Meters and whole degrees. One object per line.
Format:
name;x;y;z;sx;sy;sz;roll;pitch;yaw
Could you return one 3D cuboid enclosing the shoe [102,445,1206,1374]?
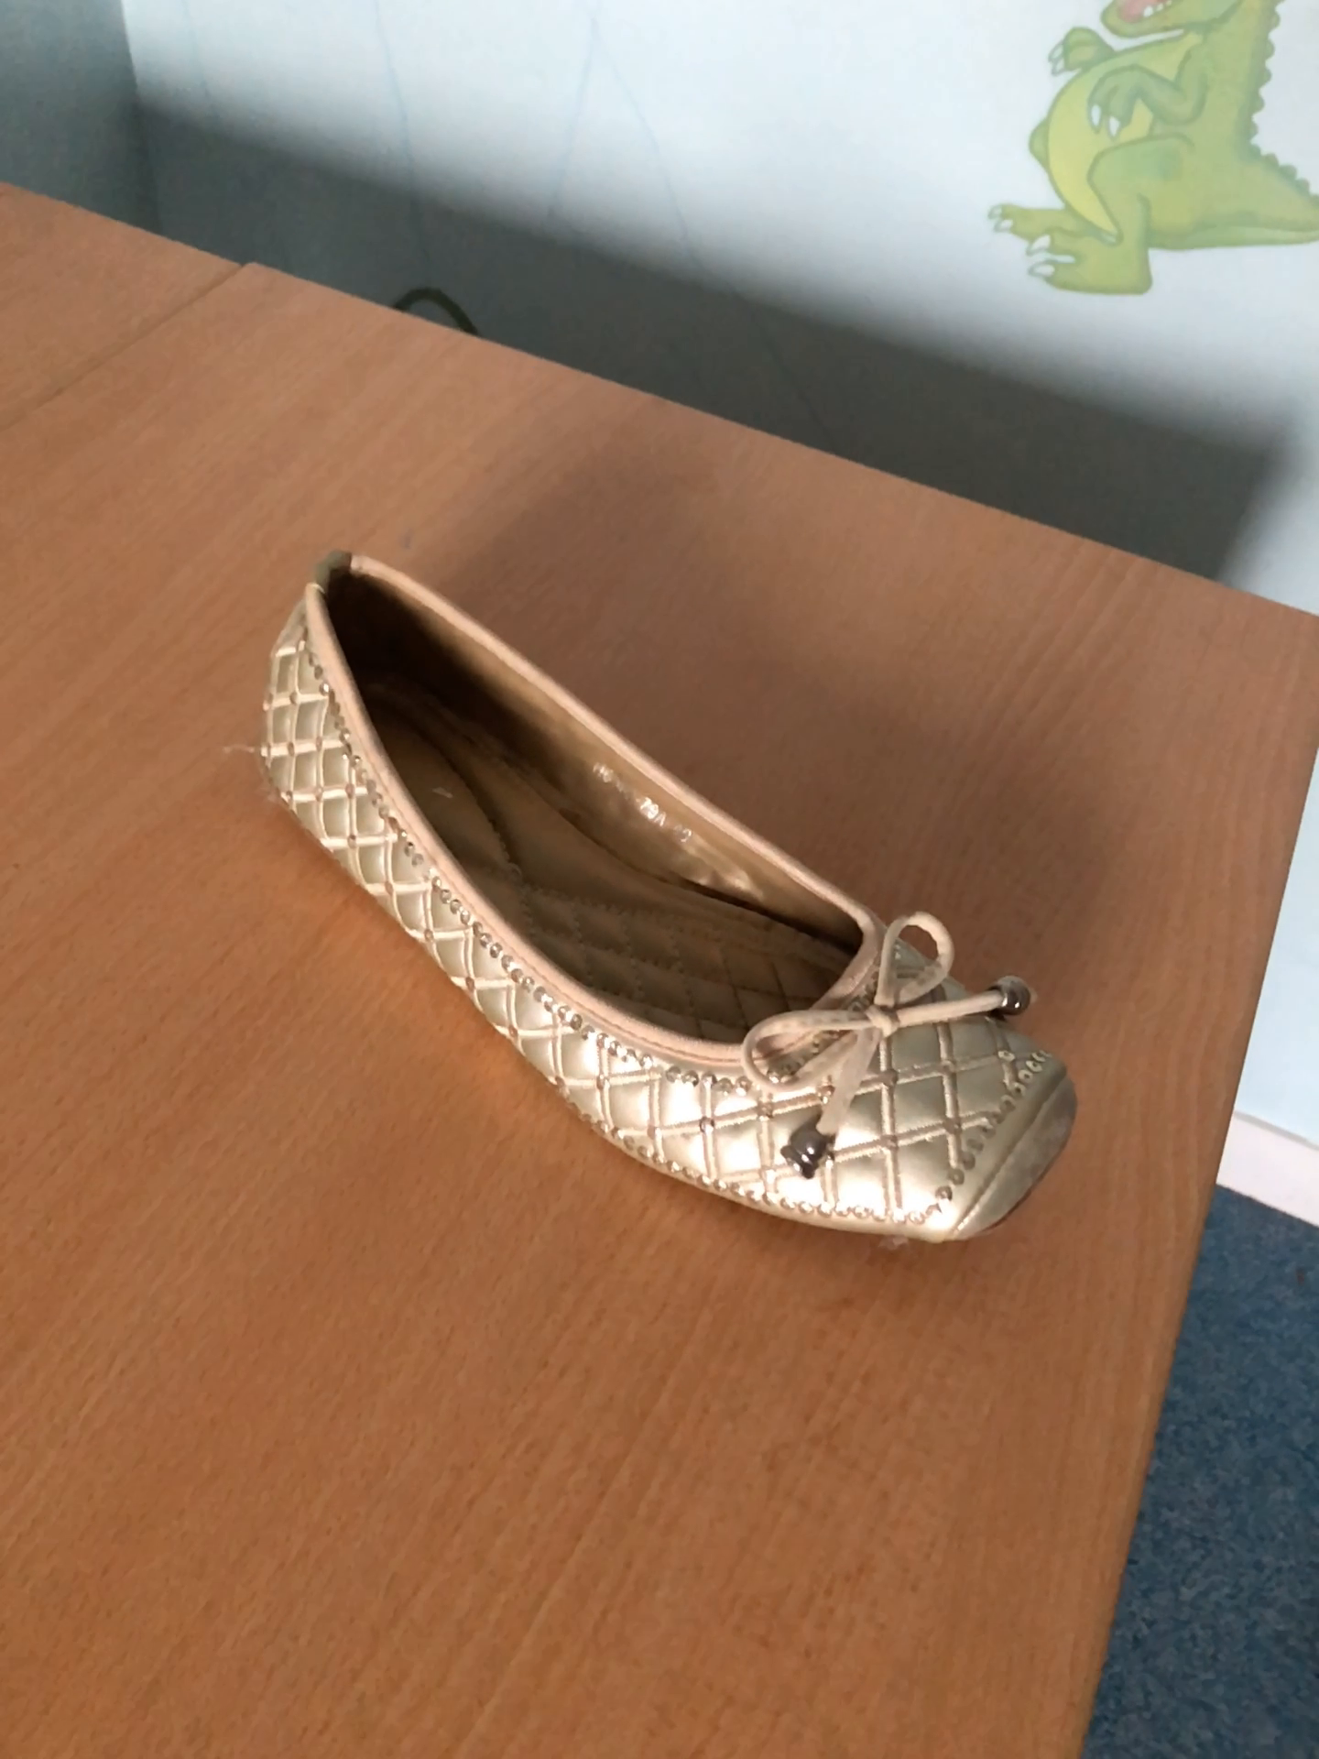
shoe;-0.011;-0.006;0.380;0.260;0.080;0.101;33;53;20
